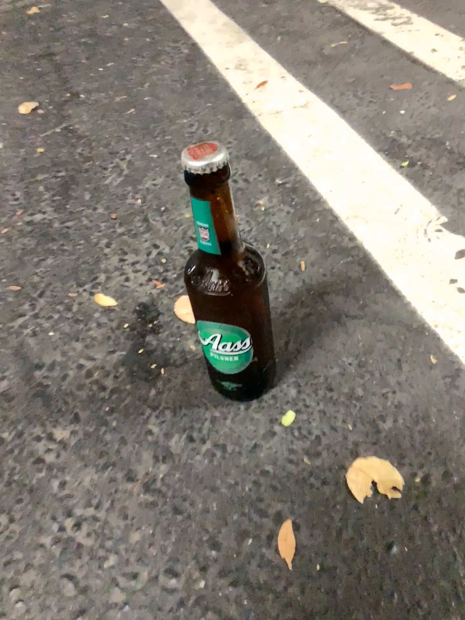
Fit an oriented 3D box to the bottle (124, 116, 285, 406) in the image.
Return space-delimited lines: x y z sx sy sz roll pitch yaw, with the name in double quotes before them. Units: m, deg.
"bottle" -0.005 -0.020 0.366 0.070 0.210 0.070 -4 49 4
